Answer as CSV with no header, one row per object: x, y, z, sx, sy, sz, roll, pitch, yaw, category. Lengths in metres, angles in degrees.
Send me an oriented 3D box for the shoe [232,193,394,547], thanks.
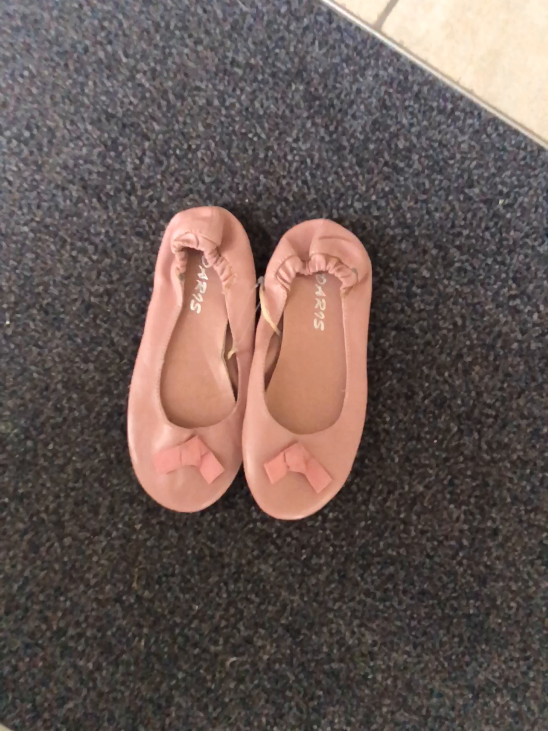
0.025,0.004,0.450,0.090,0.100,0.230,5,87,-2,shoe

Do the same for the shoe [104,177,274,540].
-0.056,-0.003,0.441,0.090,0.100,0.230,5,87,-2,shoe
